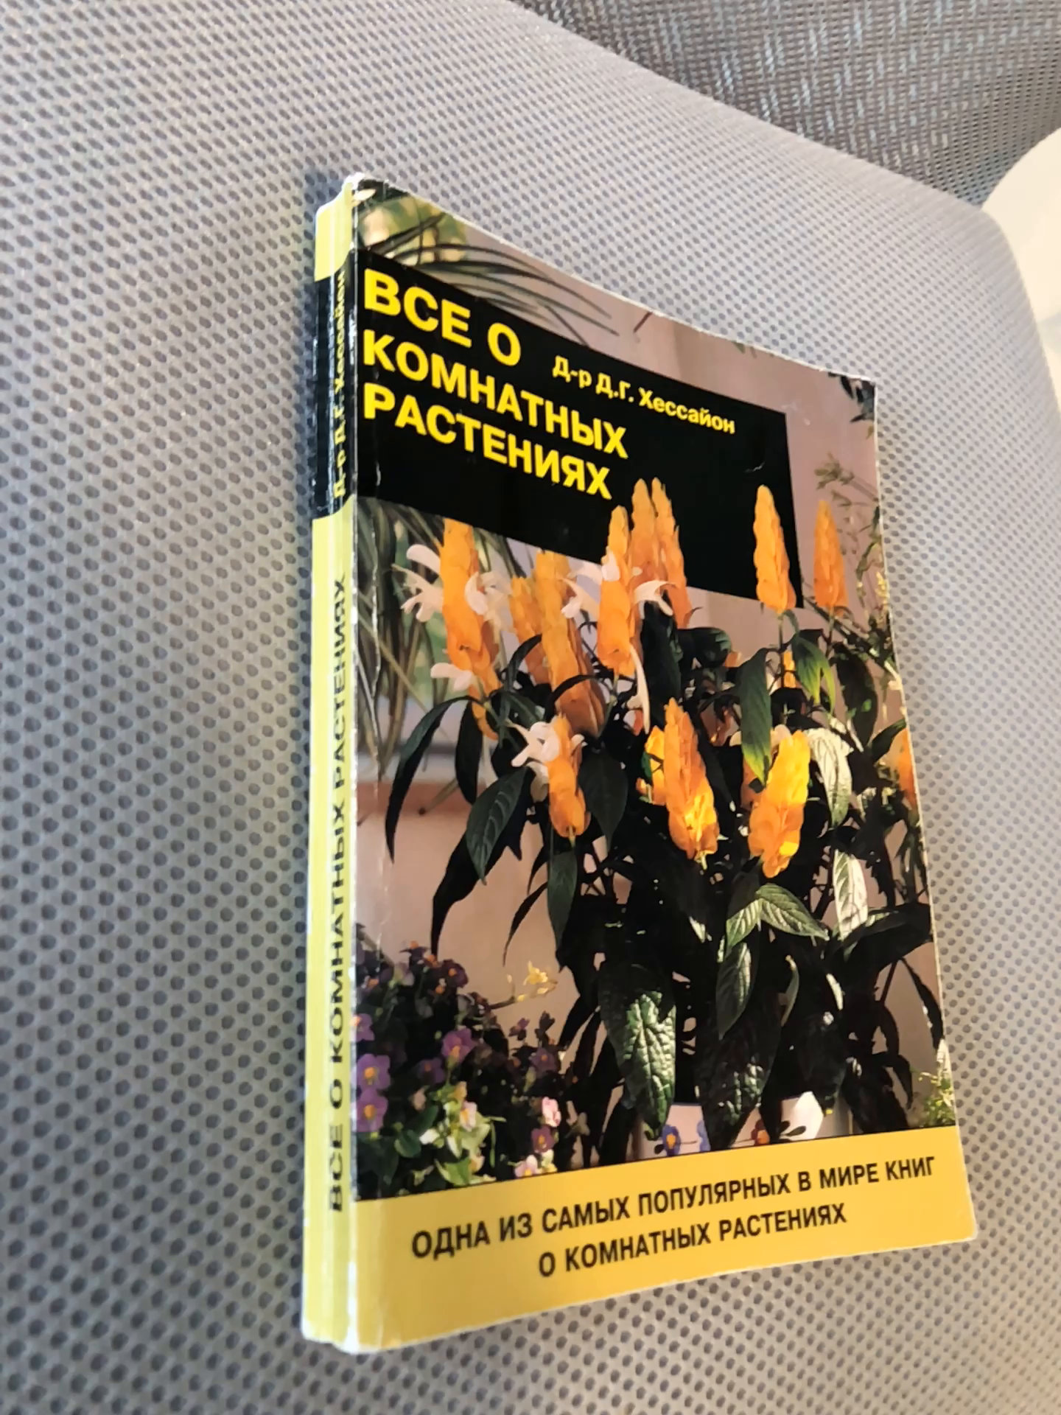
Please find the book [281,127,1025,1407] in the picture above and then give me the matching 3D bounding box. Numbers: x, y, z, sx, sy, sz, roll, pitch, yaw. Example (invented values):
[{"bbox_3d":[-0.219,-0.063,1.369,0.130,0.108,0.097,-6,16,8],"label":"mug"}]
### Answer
[{"bbox_3d":[0.032,0.007,0.265,0.171,0.030,0.230,8,71,-34],"label":"book"}]
